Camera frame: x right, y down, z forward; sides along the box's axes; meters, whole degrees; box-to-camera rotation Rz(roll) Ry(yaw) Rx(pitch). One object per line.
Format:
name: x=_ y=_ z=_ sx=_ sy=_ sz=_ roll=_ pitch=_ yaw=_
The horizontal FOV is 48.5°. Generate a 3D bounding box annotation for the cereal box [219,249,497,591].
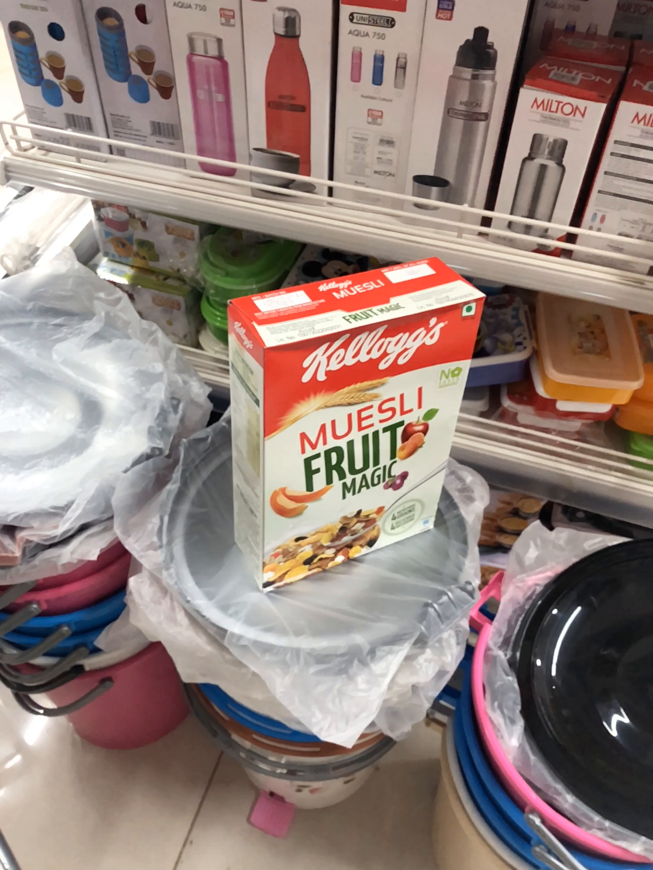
cereal box: x=0.020 y=-0.008 z=0.600 sx=0.190 sy=0.249 sz=0.070 roll=-16 pitch=43 yaw=-22
